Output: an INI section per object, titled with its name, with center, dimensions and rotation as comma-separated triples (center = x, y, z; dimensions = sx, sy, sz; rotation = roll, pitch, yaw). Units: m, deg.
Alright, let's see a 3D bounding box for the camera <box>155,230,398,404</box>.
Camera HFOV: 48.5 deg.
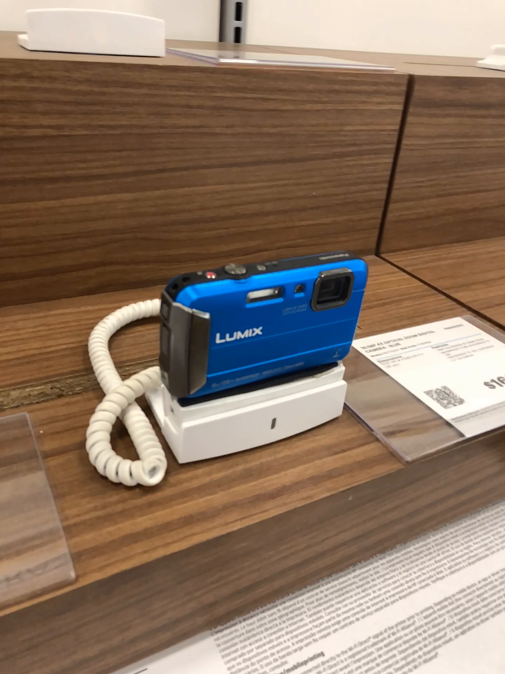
[camera]
center = 0.011, -0.012, 0.256
dimensions = 0.110, 0.060, 0.020
rotation = -12, 36, -27
